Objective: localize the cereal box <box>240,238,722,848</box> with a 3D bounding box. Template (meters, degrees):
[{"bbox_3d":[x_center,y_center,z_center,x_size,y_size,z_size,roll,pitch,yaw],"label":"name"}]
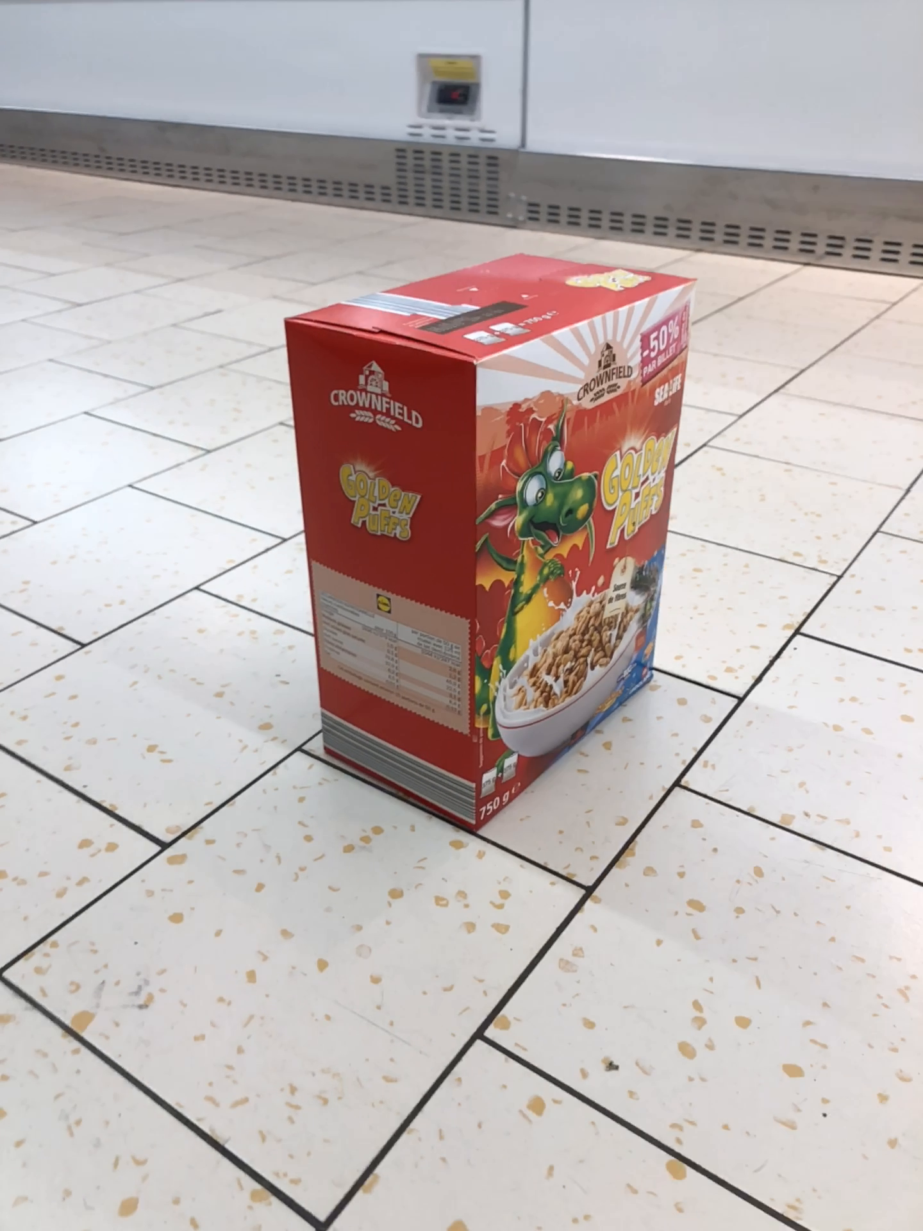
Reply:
[{"bbox_3d":[0.017,-0.053,0.553,0.140,0.248,0.201,21,36,33],"label":"cereal box"}]
